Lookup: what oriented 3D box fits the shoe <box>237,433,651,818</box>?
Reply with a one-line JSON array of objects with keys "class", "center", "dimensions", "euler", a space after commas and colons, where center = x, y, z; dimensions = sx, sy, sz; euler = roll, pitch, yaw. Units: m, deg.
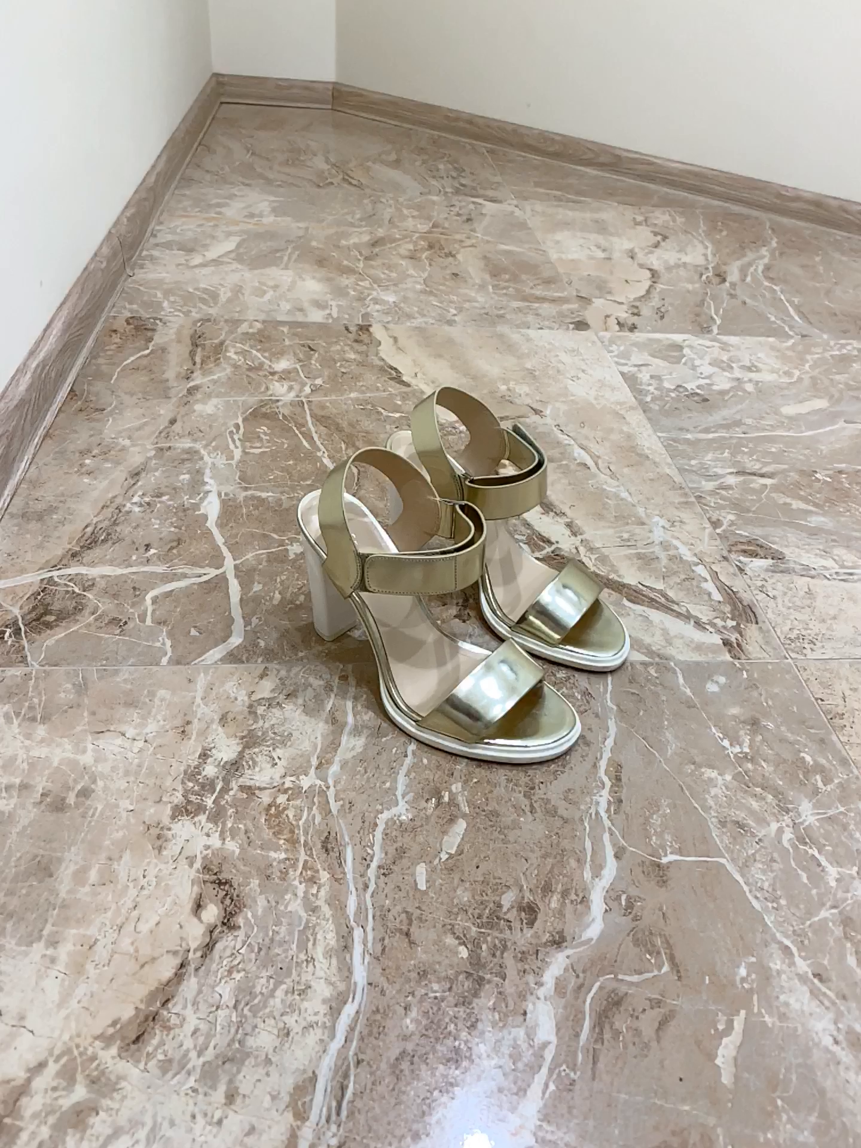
[{"class": "shoe", "center": [0.000, 0.023, 0.541], "dimensions": [0.220, 0.129, 0.096], "euler": [24, 41, 23]}]

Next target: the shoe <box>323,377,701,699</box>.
[{"class": "shoe", "center": [0.047, -0.033, 0.619], "dimensions": [0.230, 0.119, 0.100], "euler": [24, 40, 23]}]
